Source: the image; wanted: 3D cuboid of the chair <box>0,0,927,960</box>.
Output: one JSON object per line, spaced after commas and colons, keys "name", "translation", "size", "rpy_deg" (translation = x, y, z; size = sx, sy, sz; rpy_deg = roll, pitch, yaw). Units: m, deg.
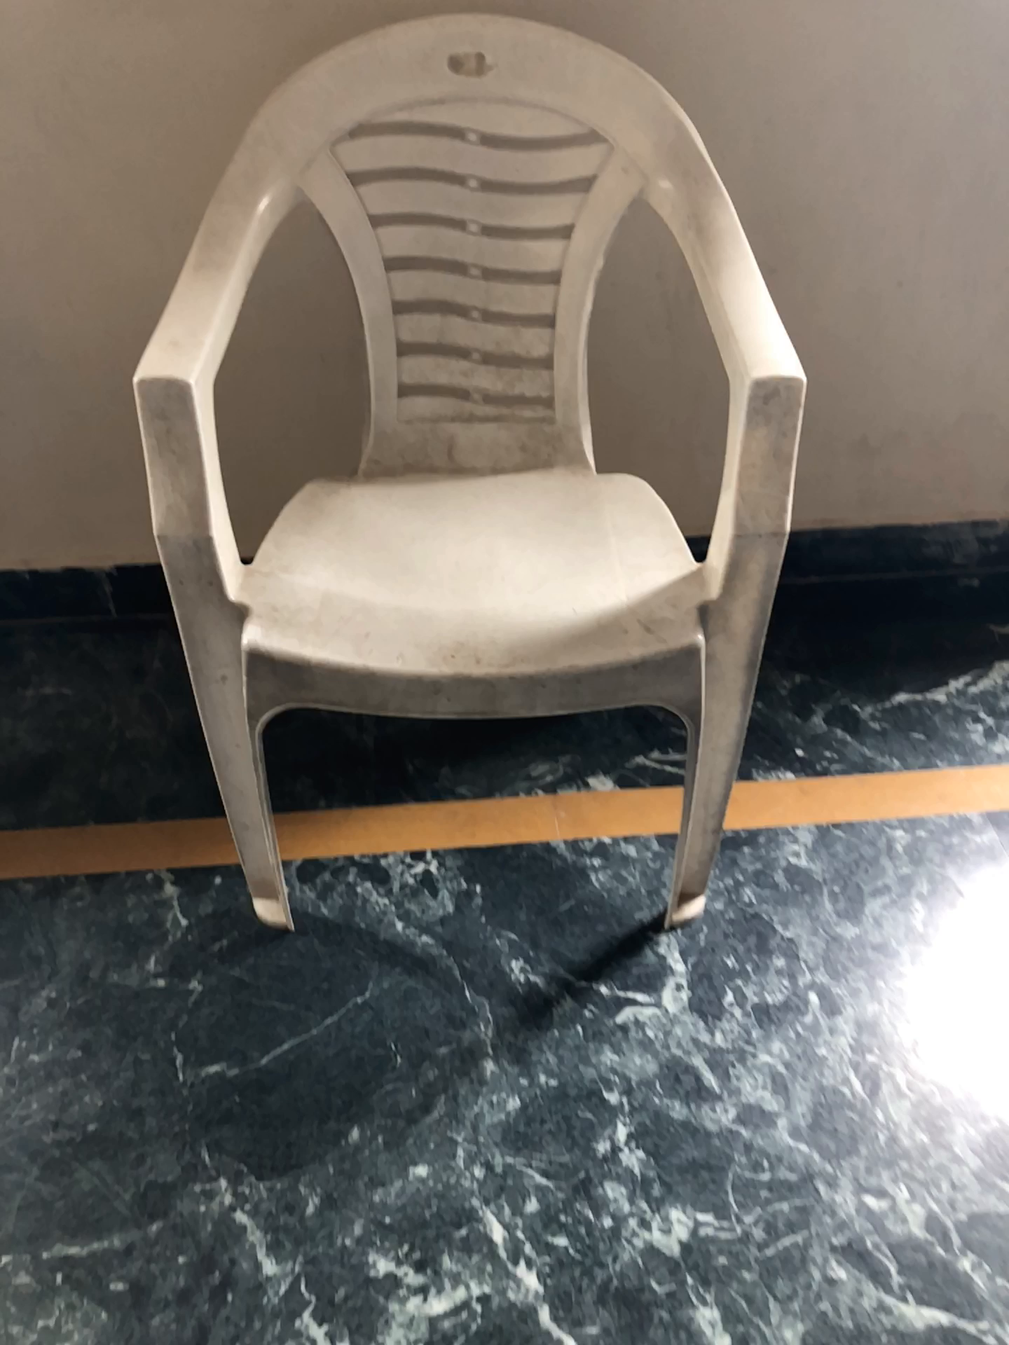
{"name": "chair", "translation": [-0.043, -0.207, 1.174], "size": [0.580, 0.774, 0.625], "rpy_deg": [-3, 41, -3]}
